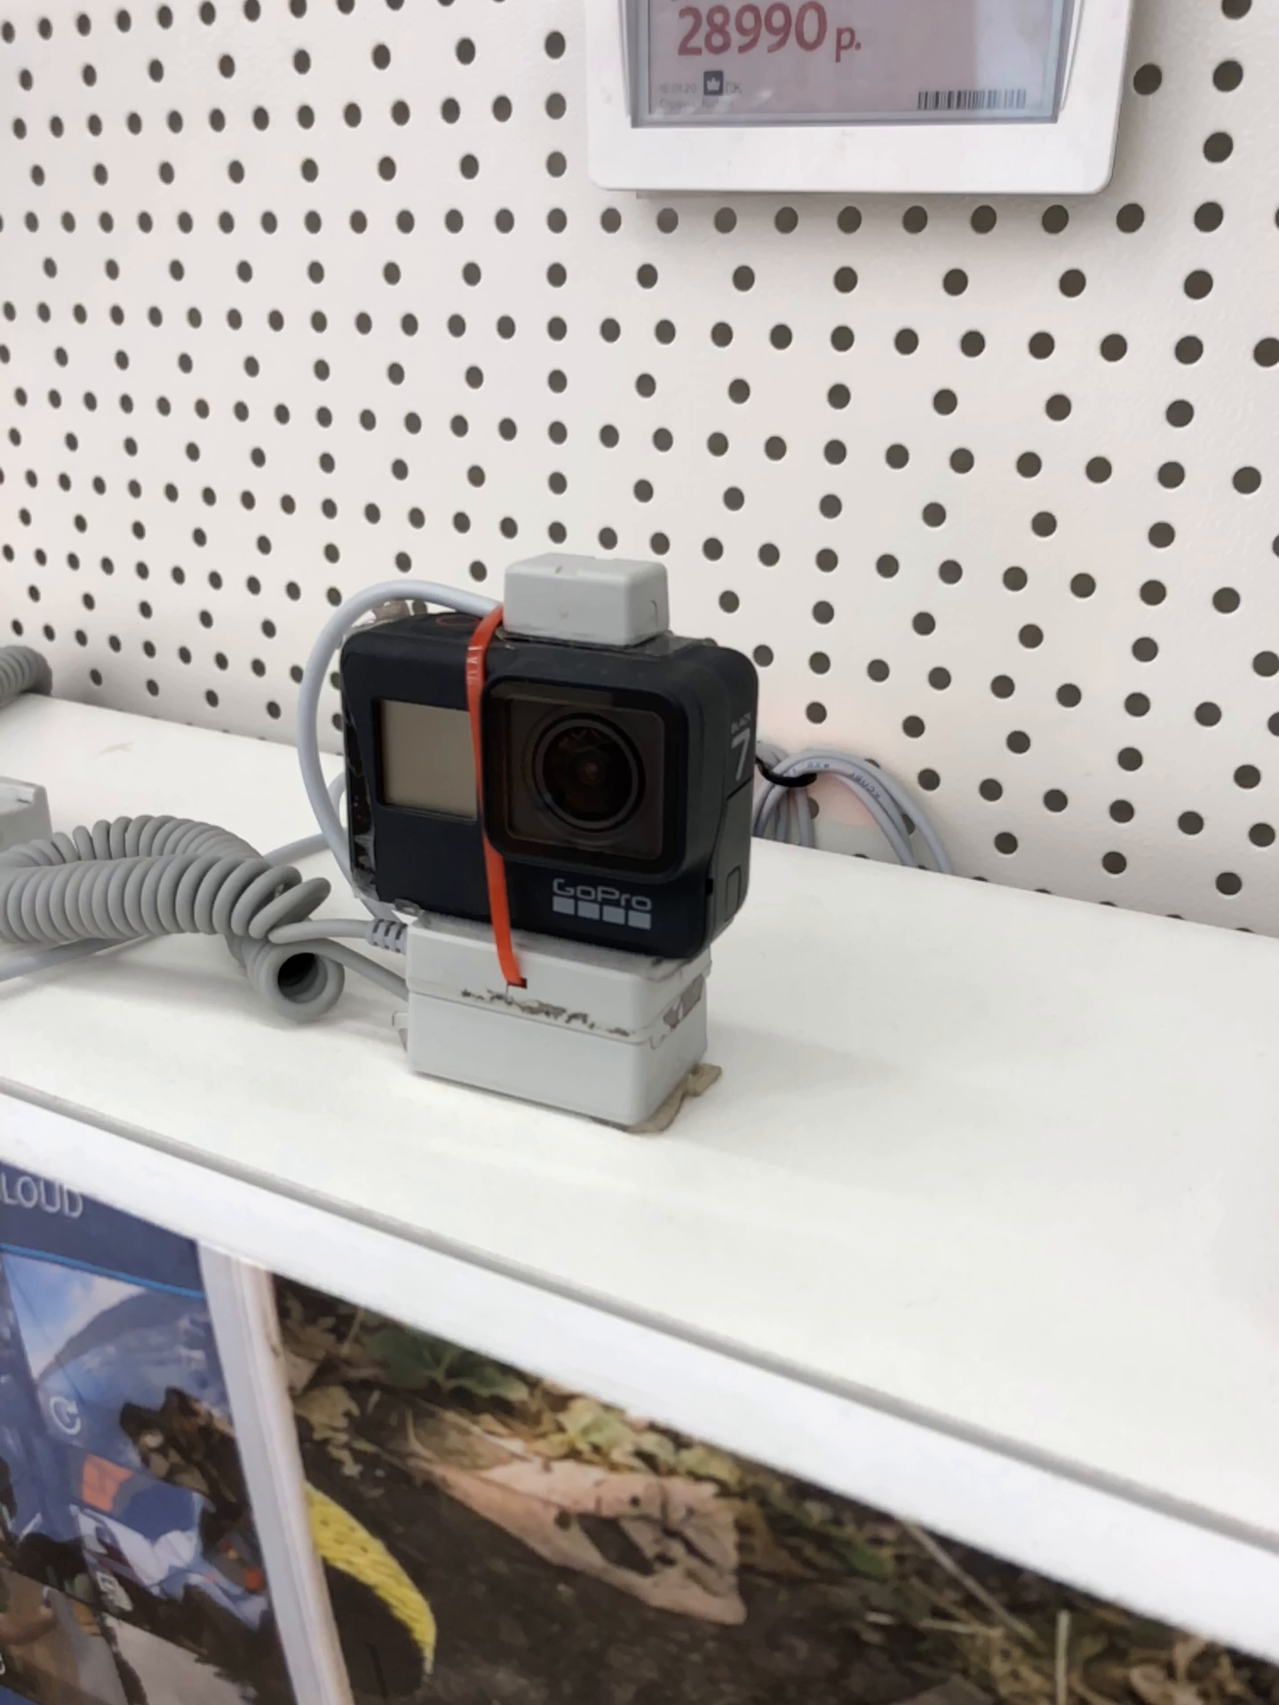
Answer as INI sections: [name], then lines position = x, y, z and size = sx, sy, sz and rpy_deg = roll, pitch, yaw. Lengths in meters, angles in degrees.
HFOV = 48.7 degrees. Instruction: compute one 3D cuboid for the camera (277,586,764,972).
[camera]
position = -0.018, -0.014, 0.218
size = 0.066, 0.044, 0.029
rpy_deg = 10, 22, 22
